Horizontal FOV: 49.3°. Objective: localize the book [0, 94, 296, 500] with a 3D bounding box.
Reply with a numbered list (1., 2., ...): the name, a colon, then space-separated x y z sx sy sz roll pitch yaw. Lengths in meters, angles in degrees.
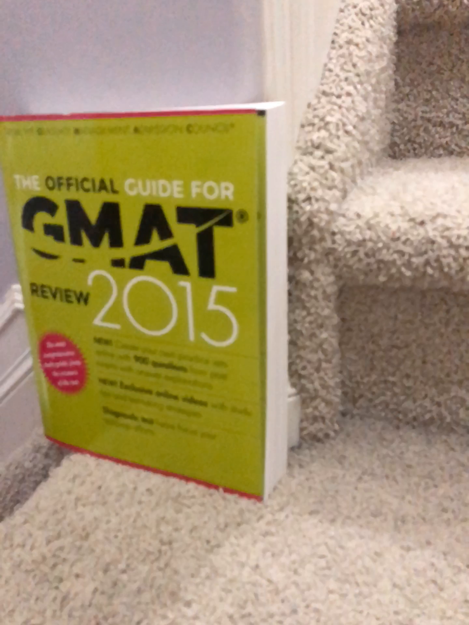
1. book: -0.071 -0.011 0.398 0.236 0.277 0.040 7 20 24
